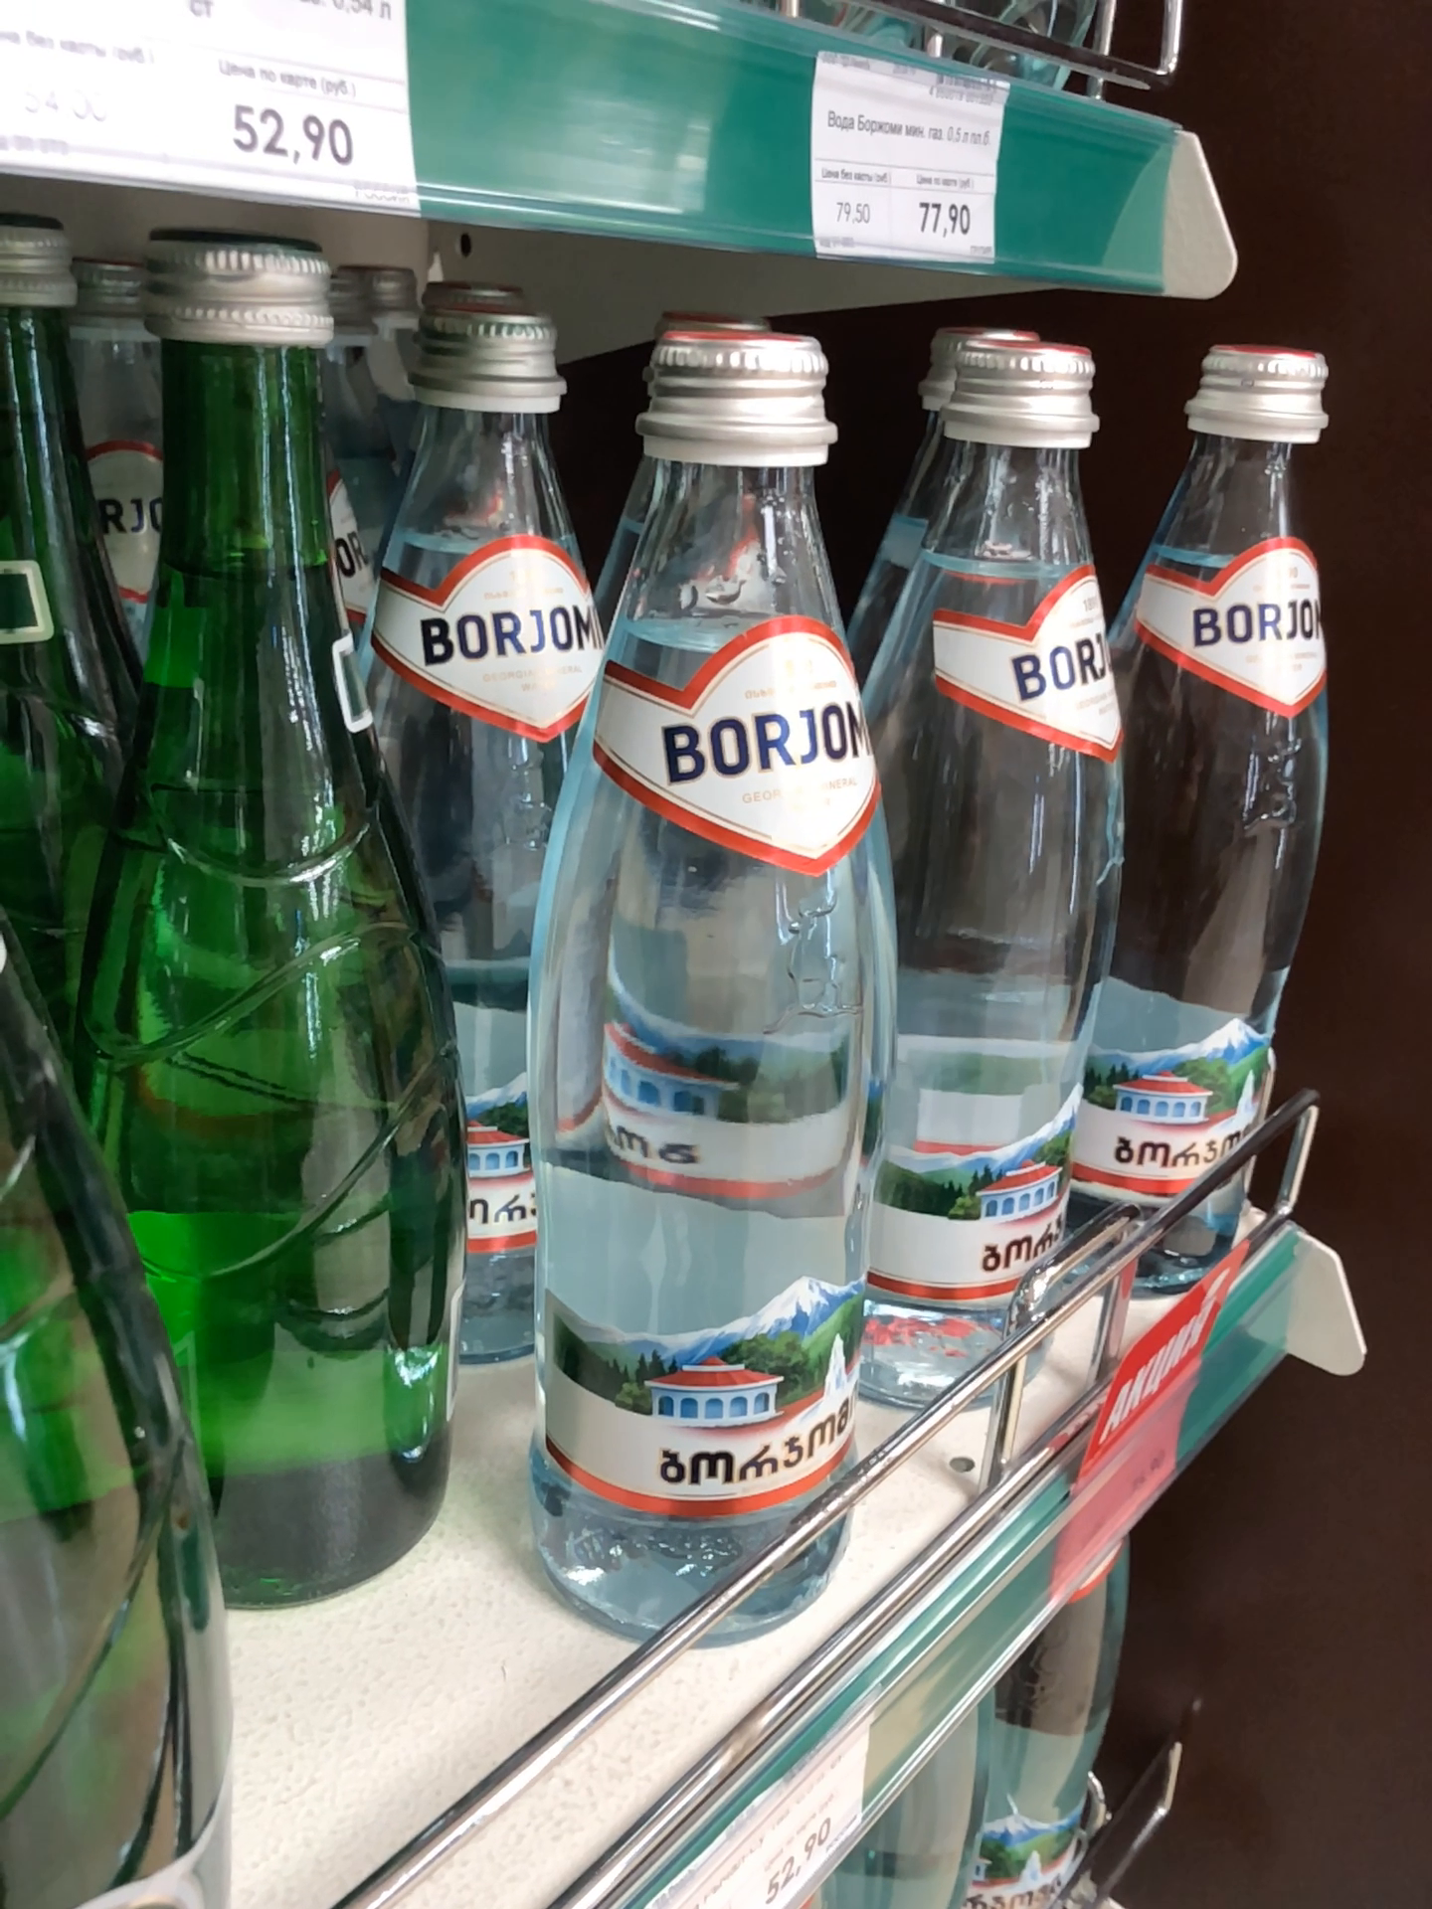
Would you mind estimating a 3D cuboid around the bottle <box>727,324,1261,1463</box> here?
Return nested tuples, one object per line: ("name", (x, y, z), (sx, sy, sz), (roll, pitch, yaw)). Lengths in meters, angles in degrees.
("bottle", (0.056, -0.013, 0.358), (0.069, 0.236, 0.065), (2, 21, -1))

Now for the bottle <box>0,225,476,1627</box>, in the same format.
("bottle", (-0.085, 0.001, 0.288), (0.069, 0.238, 0.065), (2, 21, -1))

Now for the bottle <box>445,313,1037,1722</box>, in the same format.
("bottle", (-0.002, 0.013, 0.289), (0.068, 0.236, 0.063), (2, 21, -1))
